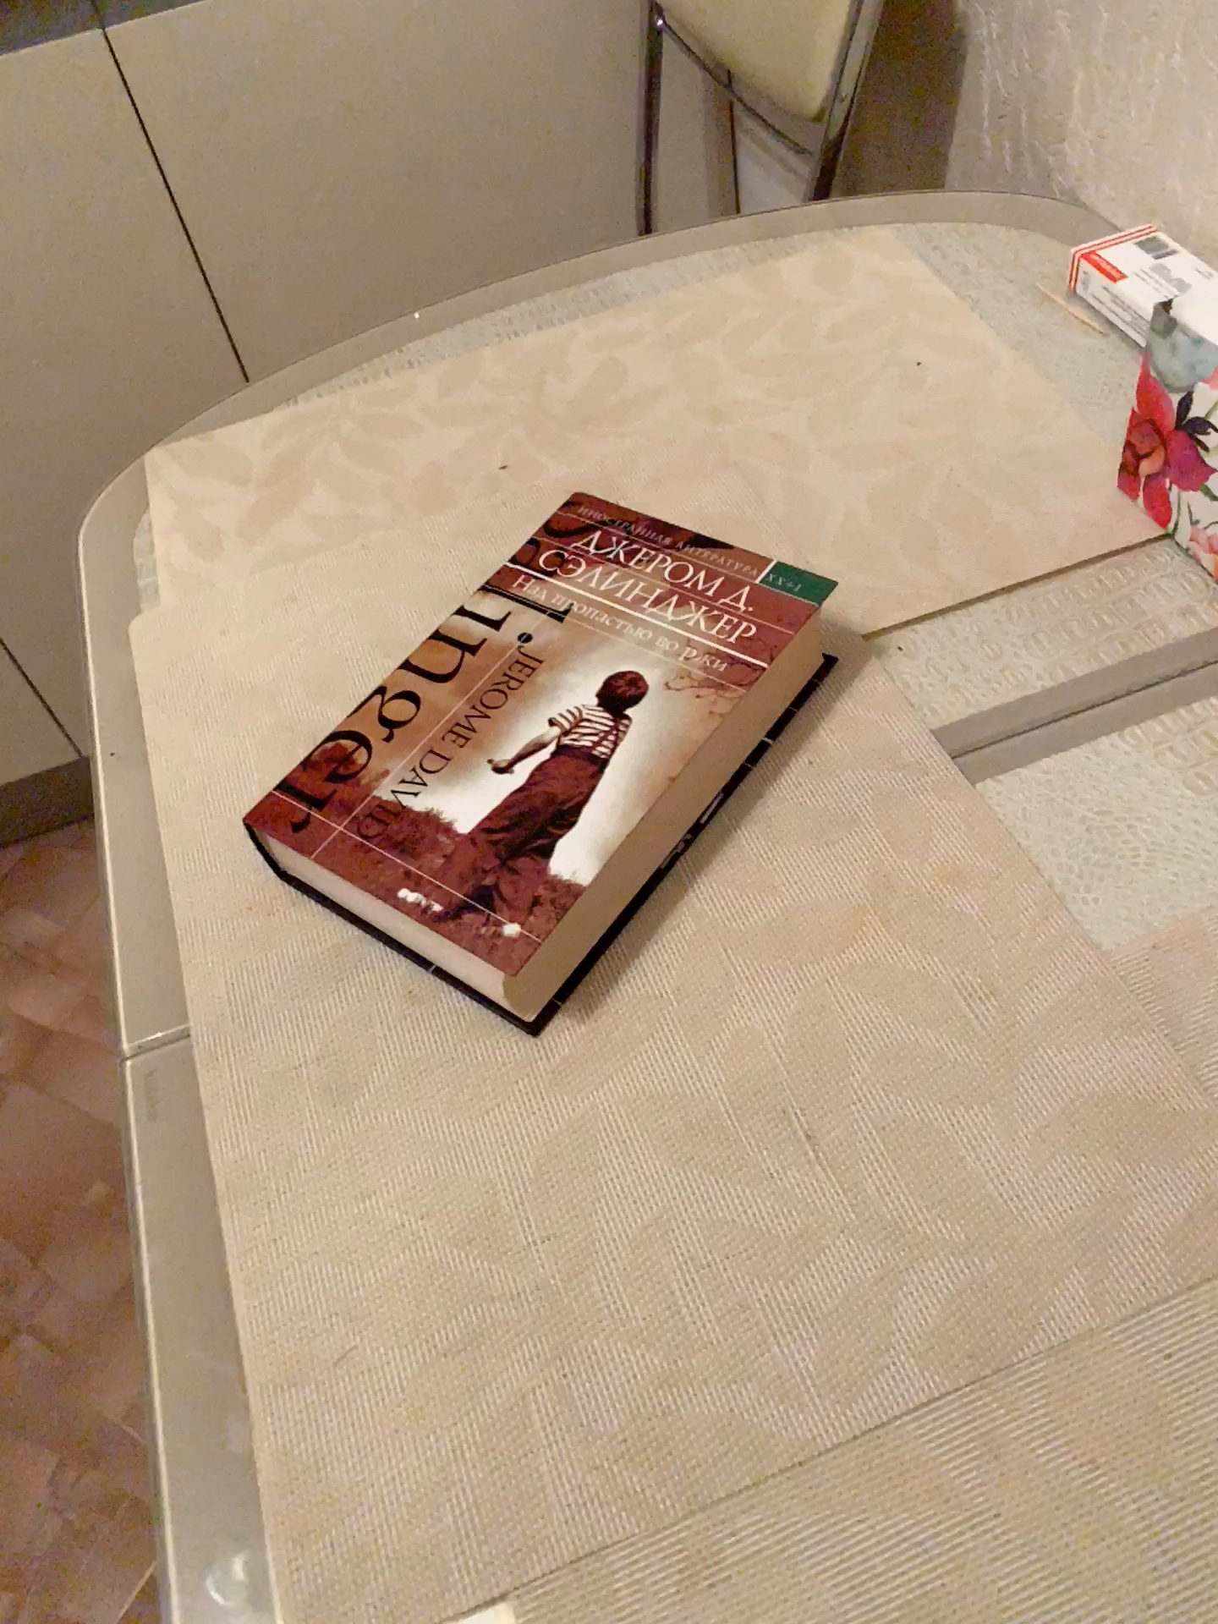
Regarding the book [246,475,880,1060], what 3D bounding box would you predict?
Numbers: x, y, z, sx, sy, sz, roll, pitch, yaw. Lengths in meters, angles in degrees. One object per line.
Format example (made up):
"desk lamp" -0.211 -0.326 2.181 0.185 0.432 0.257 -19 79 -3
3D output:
"book" -0.011 -0.033 0.507 0.150 0.049 0.221 26 62 28
